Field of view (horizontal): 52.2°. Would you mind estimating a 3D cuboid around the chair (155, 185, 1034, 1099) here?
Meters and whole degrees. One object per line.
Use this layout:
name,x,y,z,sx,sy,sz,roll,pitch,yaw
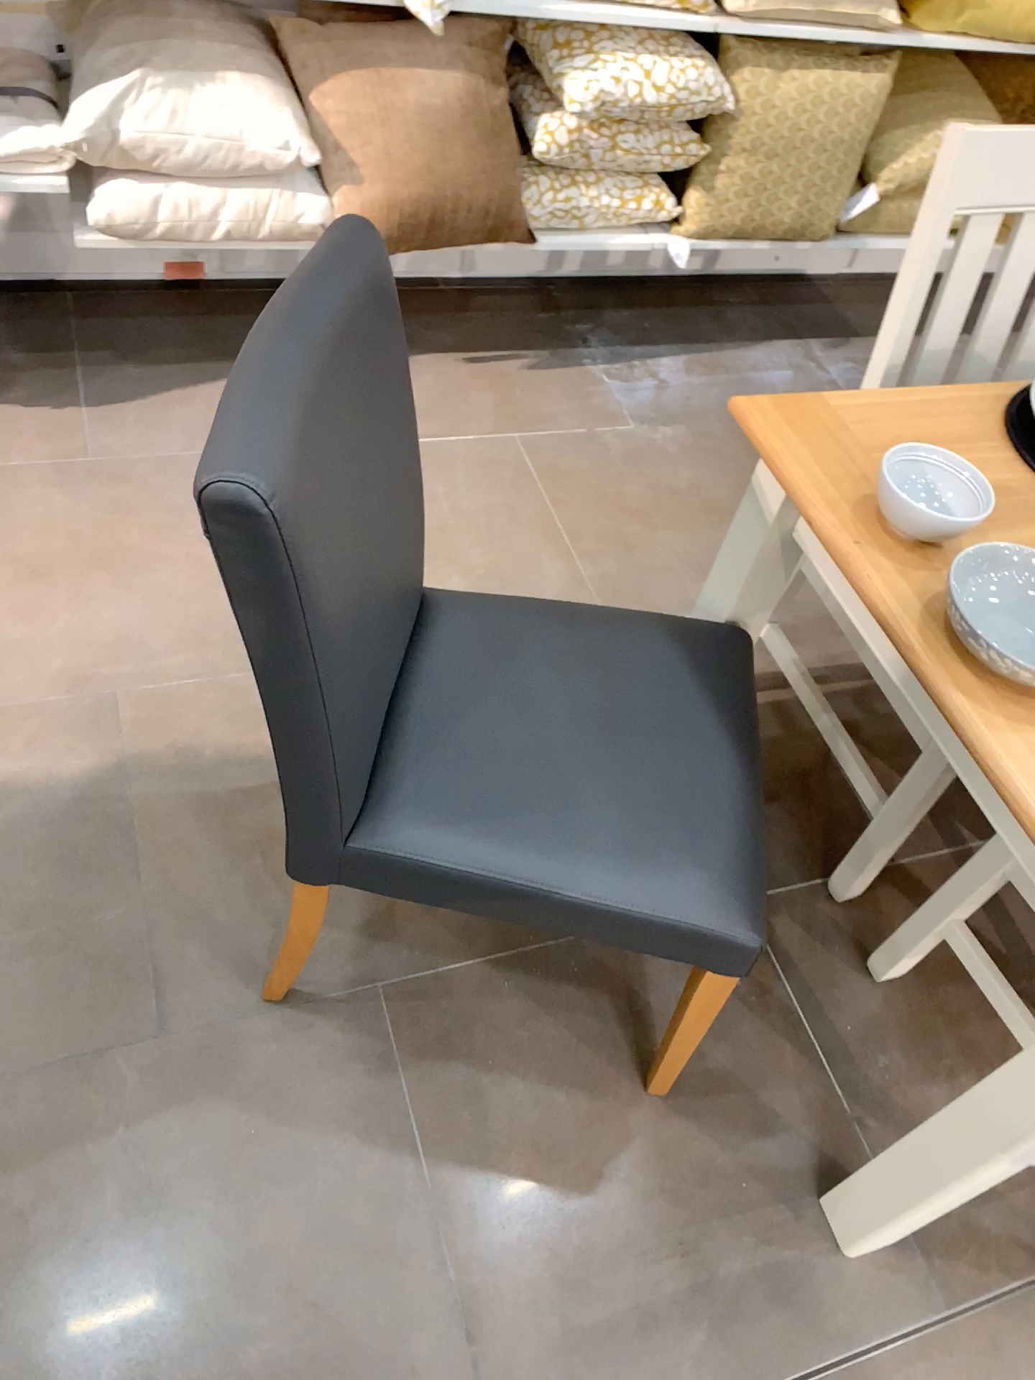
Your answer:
chair,0.014,0.028,1.254,0.649,0.907,0.479,12,49,-3
